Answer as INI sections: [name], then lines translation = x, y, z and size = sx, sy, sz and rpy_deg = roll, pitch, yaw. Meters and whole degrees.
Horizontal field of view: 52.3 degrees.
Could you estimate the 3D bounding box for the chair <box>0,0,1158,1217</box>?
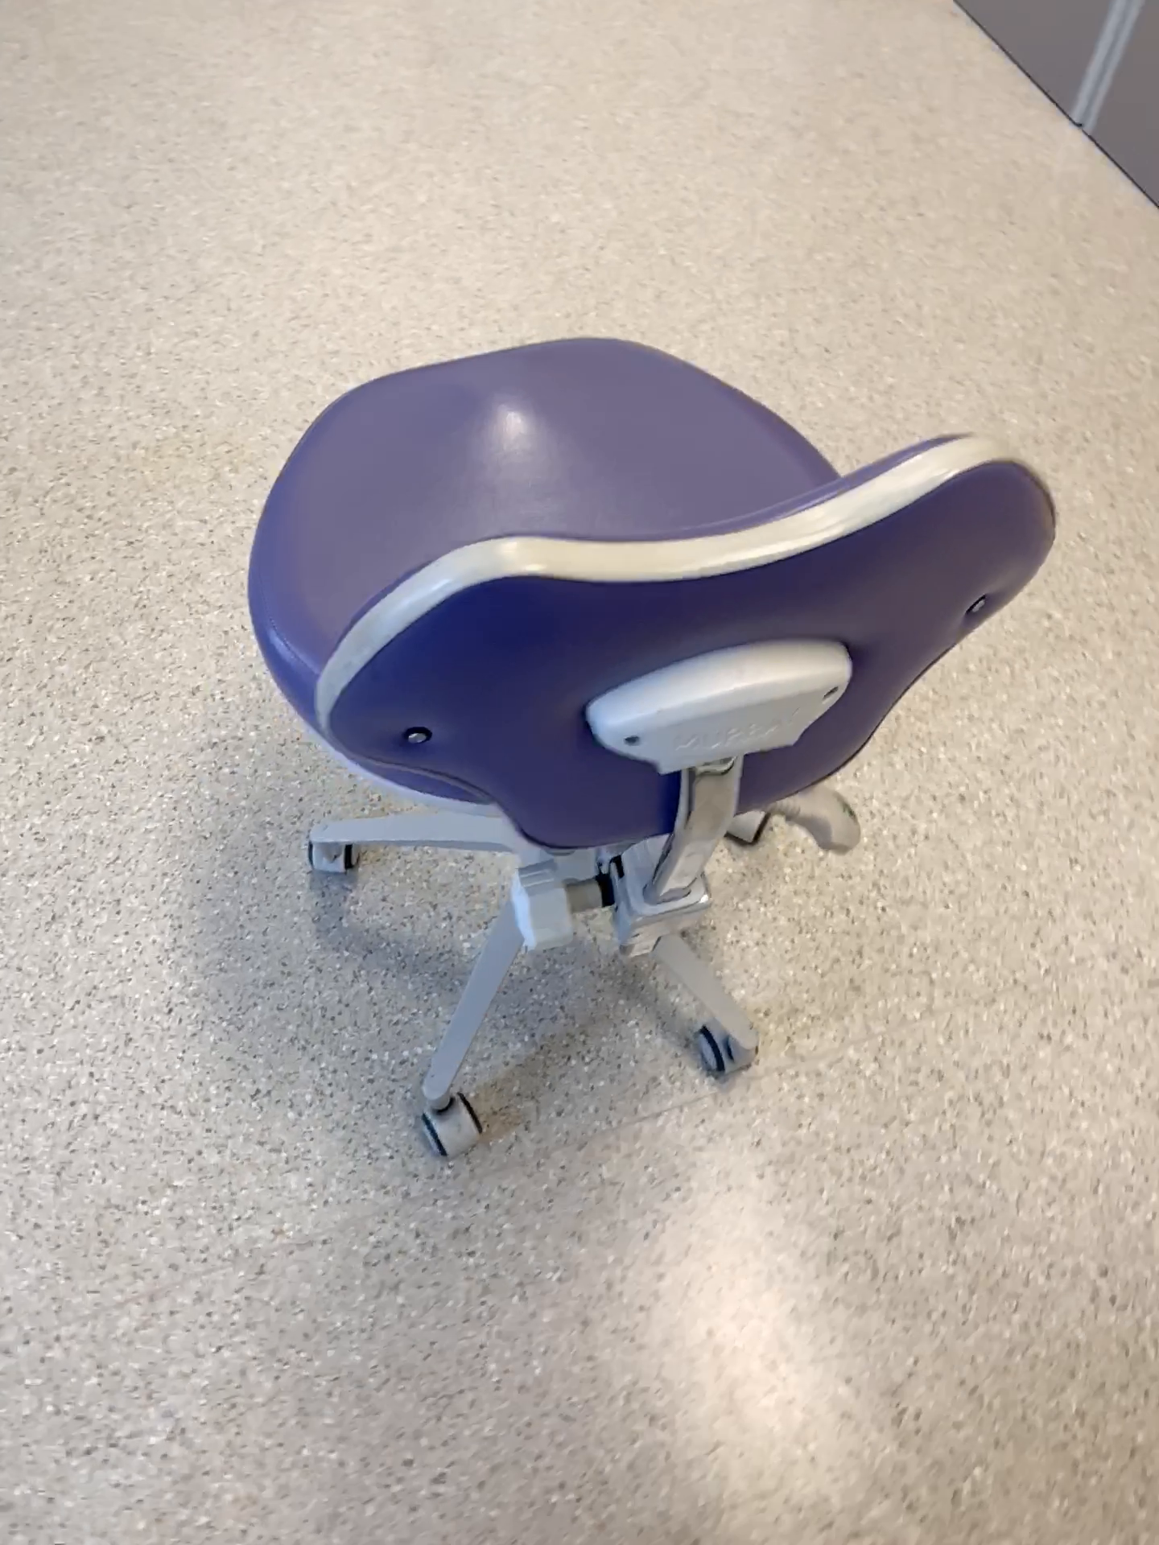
[chair]
translation = 0.012, -0.159, 0.914
size = 0.600, 0.825, 0.654
rpy_deg = -16, 61, -10
